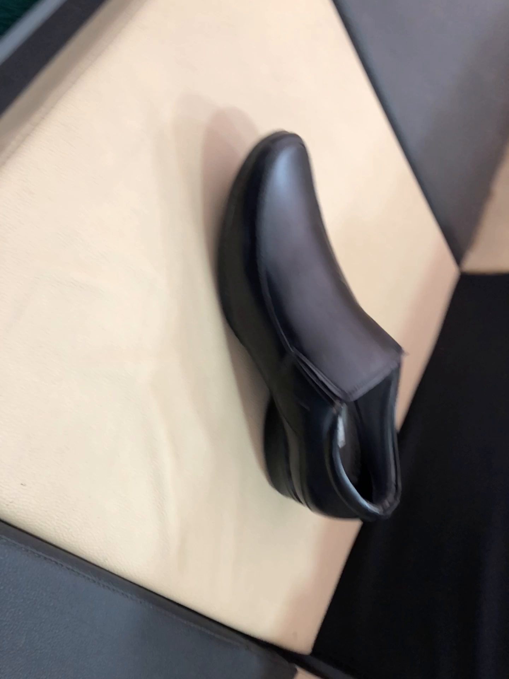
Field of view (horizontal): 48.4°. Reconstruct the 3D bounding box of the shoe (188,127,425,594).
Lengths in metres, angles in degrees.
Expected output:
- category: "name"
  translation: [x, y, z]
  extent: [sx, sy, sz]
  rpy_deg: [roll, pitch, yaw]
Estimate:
- category: "shoe"
  translation: [0.050, 0.016, 0.438]
  extent: [0.101, 0.099, 0.320]
  rpy_deg: [-25, 112, -42]
